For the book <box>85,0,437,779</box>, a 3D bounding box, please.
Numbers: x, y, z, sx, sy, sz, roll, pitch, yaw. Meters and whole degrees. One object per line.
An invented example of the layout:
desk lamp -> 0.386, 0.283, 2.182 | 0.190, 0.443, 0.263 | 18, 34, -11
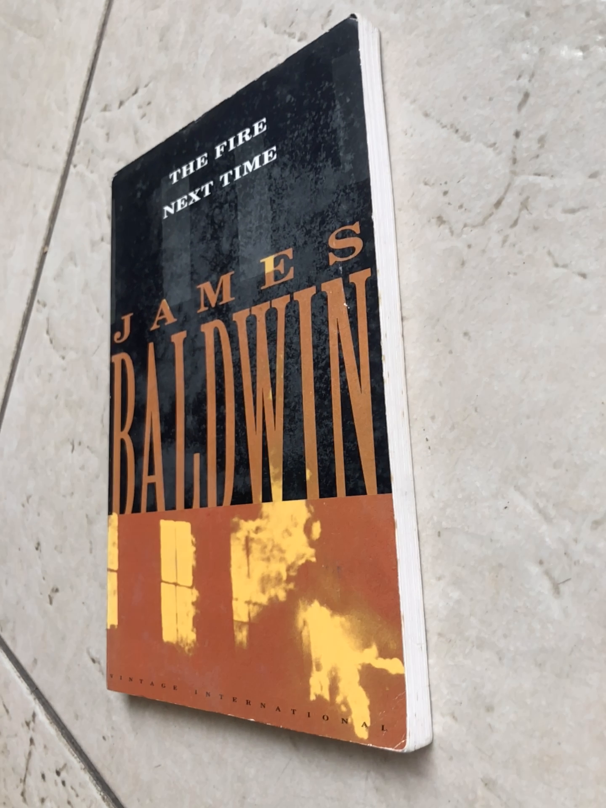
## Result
book -> -0.025, -0.004, 0.219 | 0.130, 0.016, 0.200 | -11, 76, 40
